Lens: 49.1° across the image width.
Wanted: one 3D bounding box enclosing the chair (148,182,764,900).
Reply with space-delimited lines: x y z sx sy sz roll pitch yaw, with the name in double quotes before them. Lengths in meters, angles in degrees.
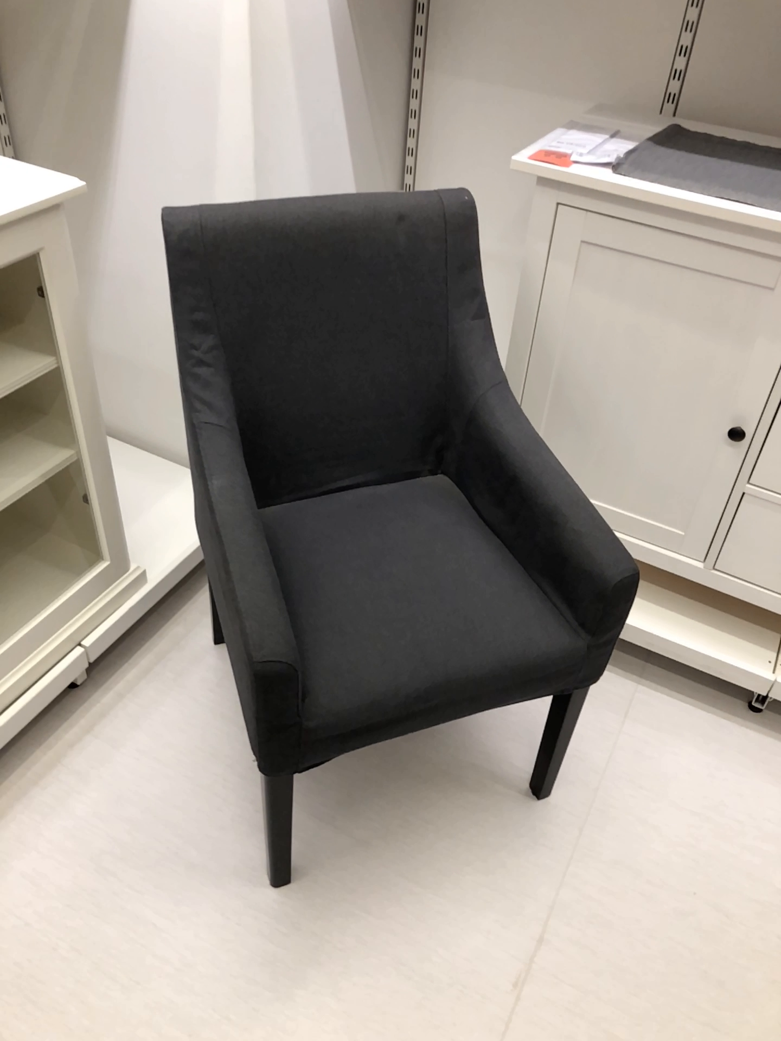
"chair" 0.012 0.019 1.401 0.610 0.884 0.624 -11 42 -18
